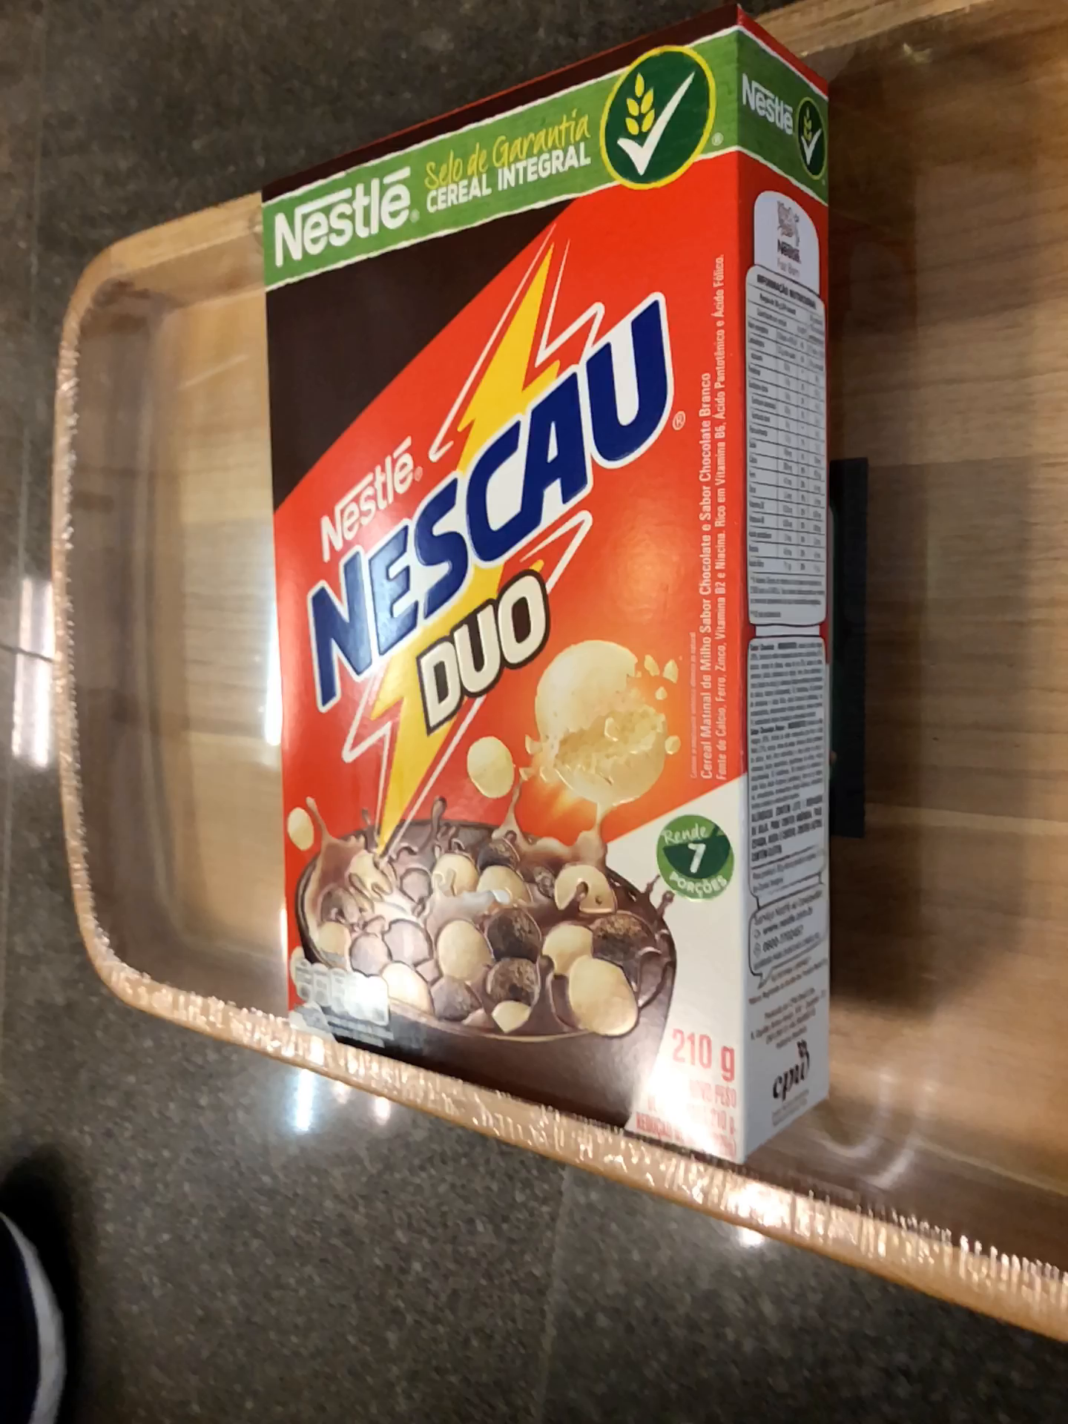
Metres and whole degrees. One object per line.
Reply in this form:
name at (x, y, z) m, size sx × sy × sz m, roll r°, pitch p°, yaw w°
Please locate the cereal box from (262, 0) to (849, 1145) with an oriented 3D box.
cereal box at (0.000, -0.031, 0.327) m, size 0.161 × 0.050 × 0.250 m, roll 2°, pitch 95°, yaw 39°
